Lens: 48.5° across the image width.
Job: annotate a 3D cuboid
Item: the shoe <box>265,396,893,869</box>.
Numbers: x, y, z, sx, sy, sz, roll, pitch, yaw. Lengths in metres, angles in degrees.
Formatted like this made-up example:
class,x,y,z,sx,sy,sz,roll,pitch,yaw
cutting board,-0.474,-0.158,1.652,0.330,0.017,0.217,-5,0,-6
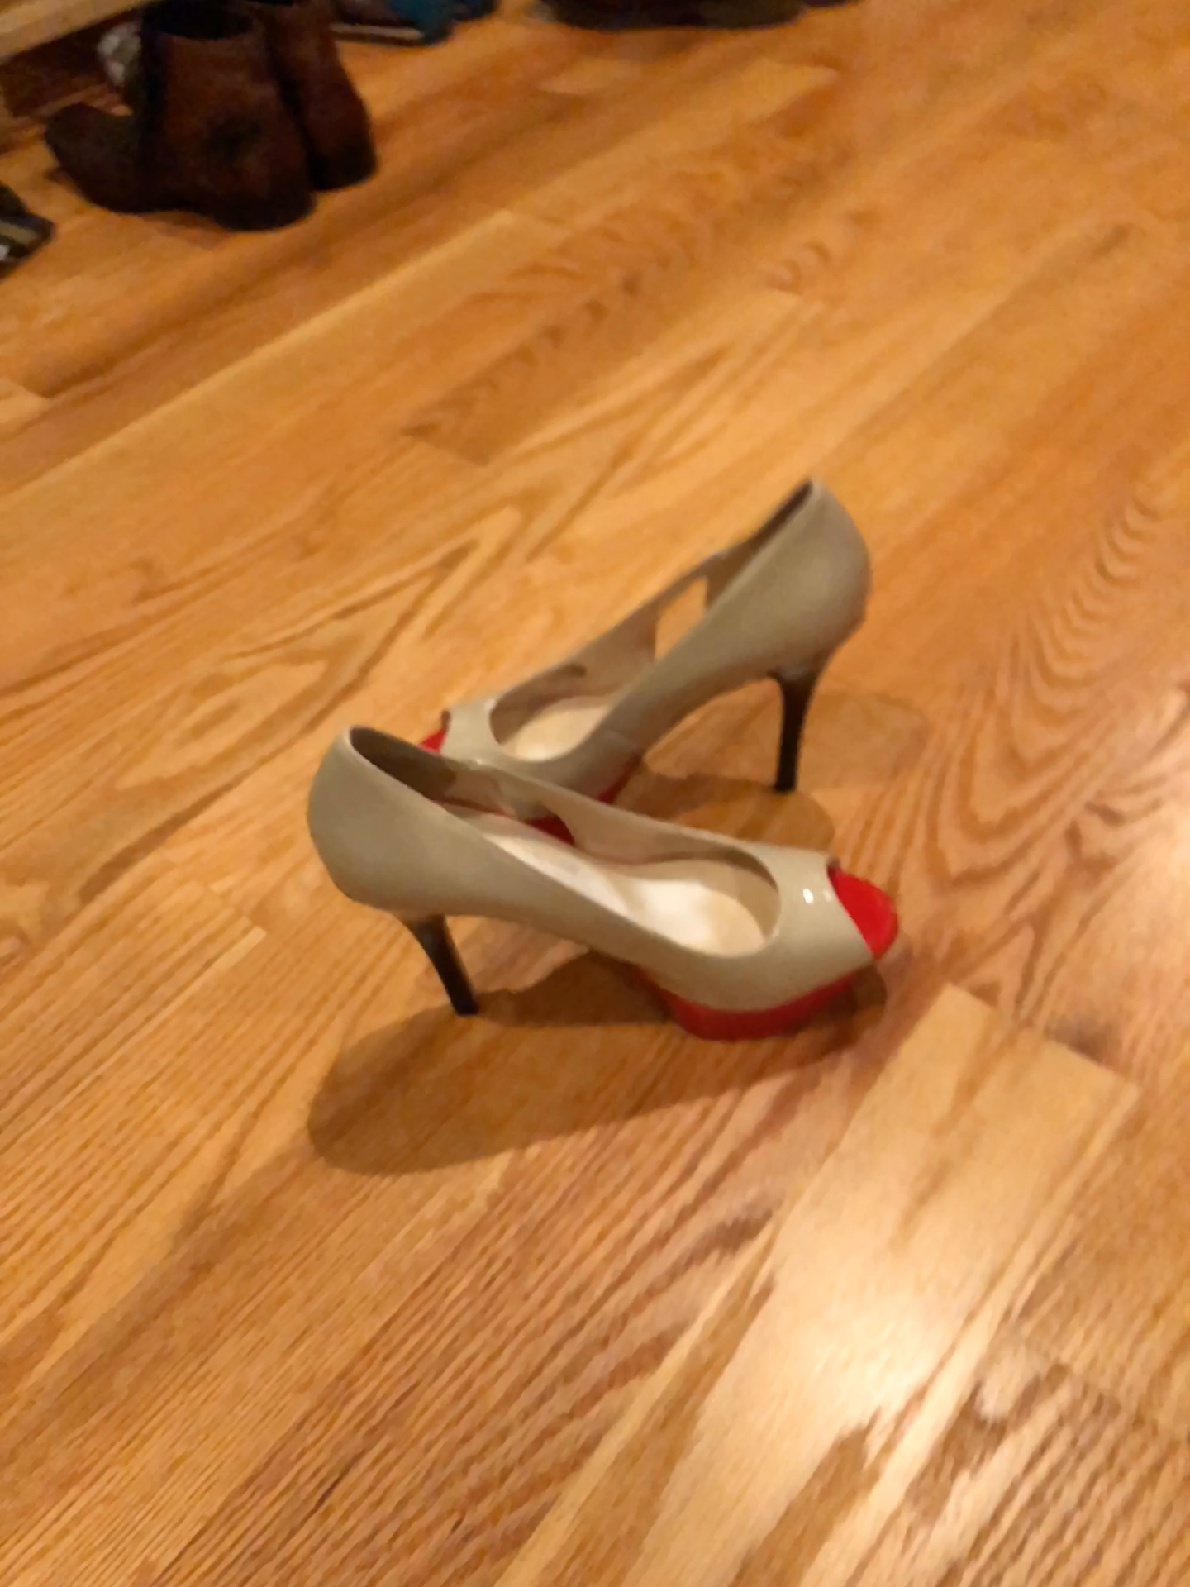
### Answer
class,x,y,z,sx,sy,sz,roll,pitch,yaw
shoe,-0.001,-0.061,0.541,0.220,0.149,0.080,-7,46,2

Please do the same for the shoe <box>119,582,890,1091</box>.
class,x,y,z,sx,sy,sz,roll,pitch,yaw
shoe,-0.021,0.019,0.440,0.215,0.129,0.085,-6,46,3
